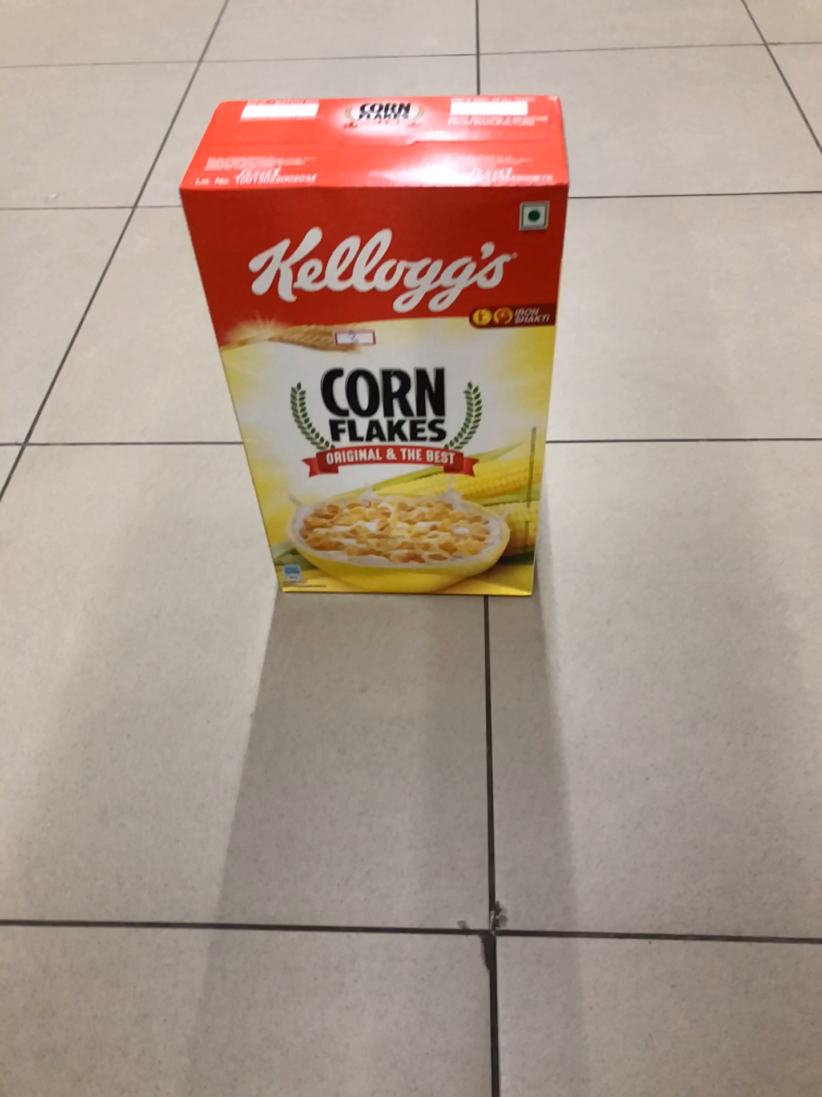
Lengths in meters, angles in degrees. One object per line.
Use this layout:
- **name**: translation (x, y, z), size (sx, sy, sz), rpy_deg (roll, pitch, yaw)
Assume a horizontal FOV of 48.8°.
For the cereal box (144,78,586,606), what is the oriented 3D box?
- **cereal box**: translation (-0.012, -0.101, 0.560), size (0.200, 0.318, 0.101), rpy_deg (0, 50, 4)
